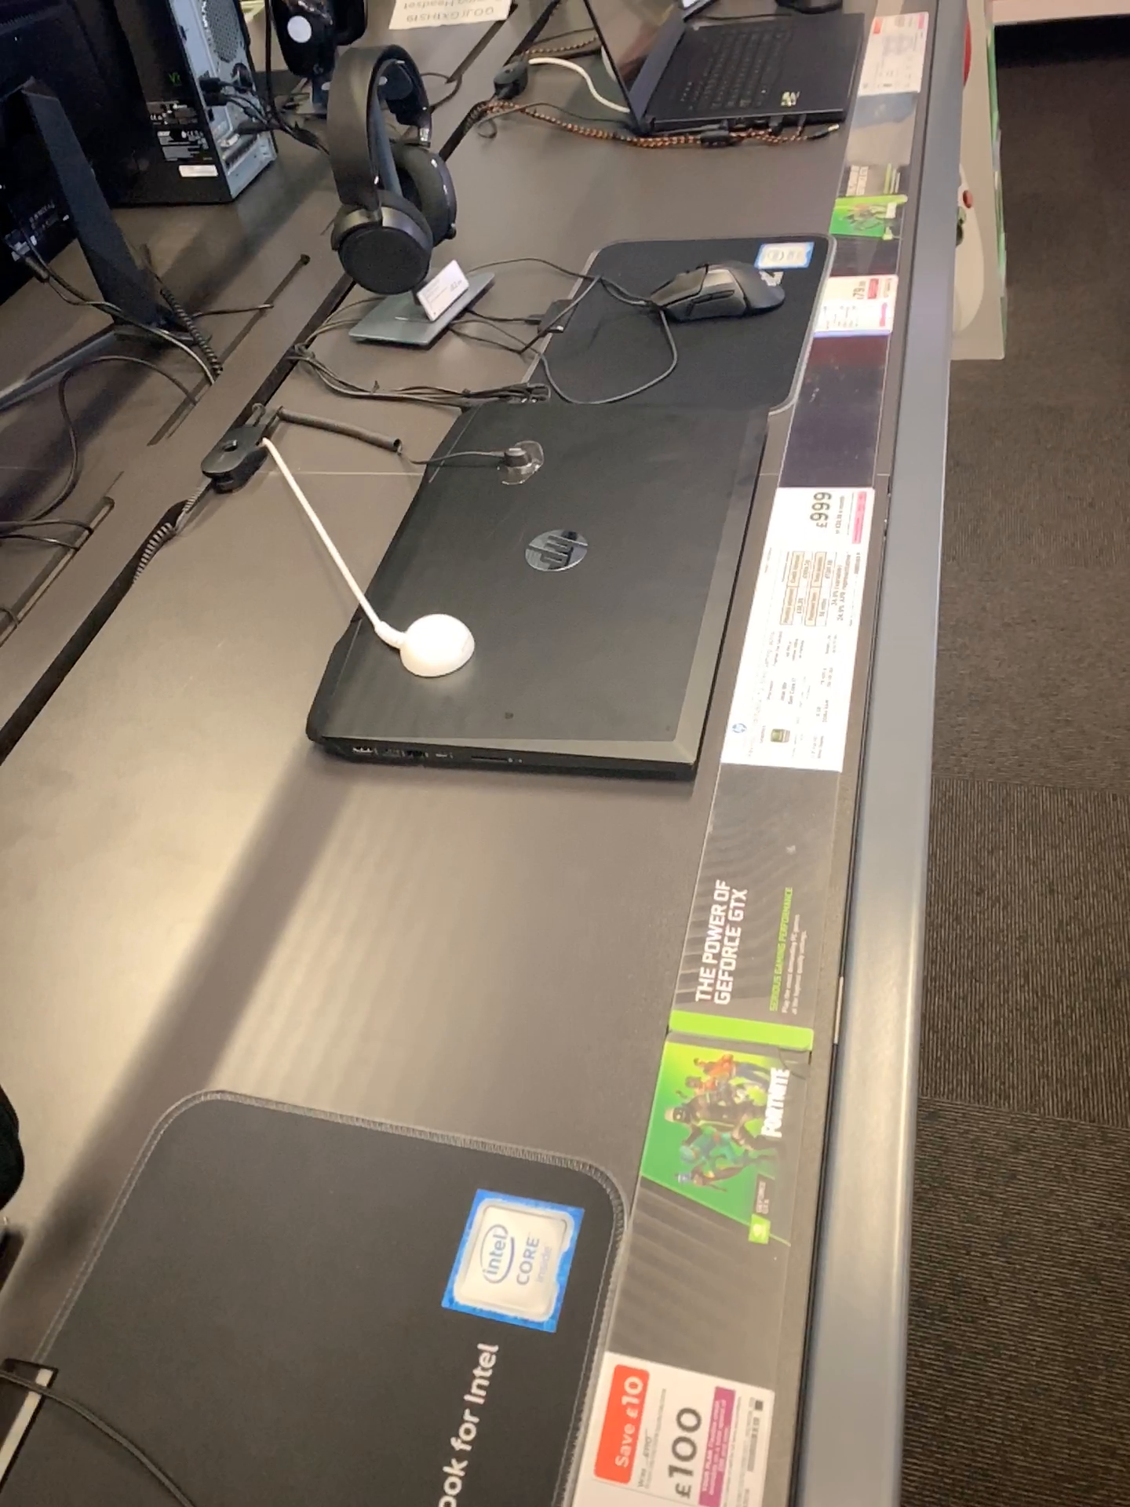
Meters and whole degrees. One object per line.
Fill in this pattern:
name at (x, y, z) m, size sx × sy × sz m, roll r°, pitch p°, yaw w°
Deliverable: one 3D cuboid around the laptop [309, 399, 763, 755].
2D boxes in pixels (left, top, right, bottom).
laptop at (-0.004, -0.158, 0.871) m, size 0.256 × 0.001 × 0.397 m, roll 5°, pitch 49°, yaw 16°
